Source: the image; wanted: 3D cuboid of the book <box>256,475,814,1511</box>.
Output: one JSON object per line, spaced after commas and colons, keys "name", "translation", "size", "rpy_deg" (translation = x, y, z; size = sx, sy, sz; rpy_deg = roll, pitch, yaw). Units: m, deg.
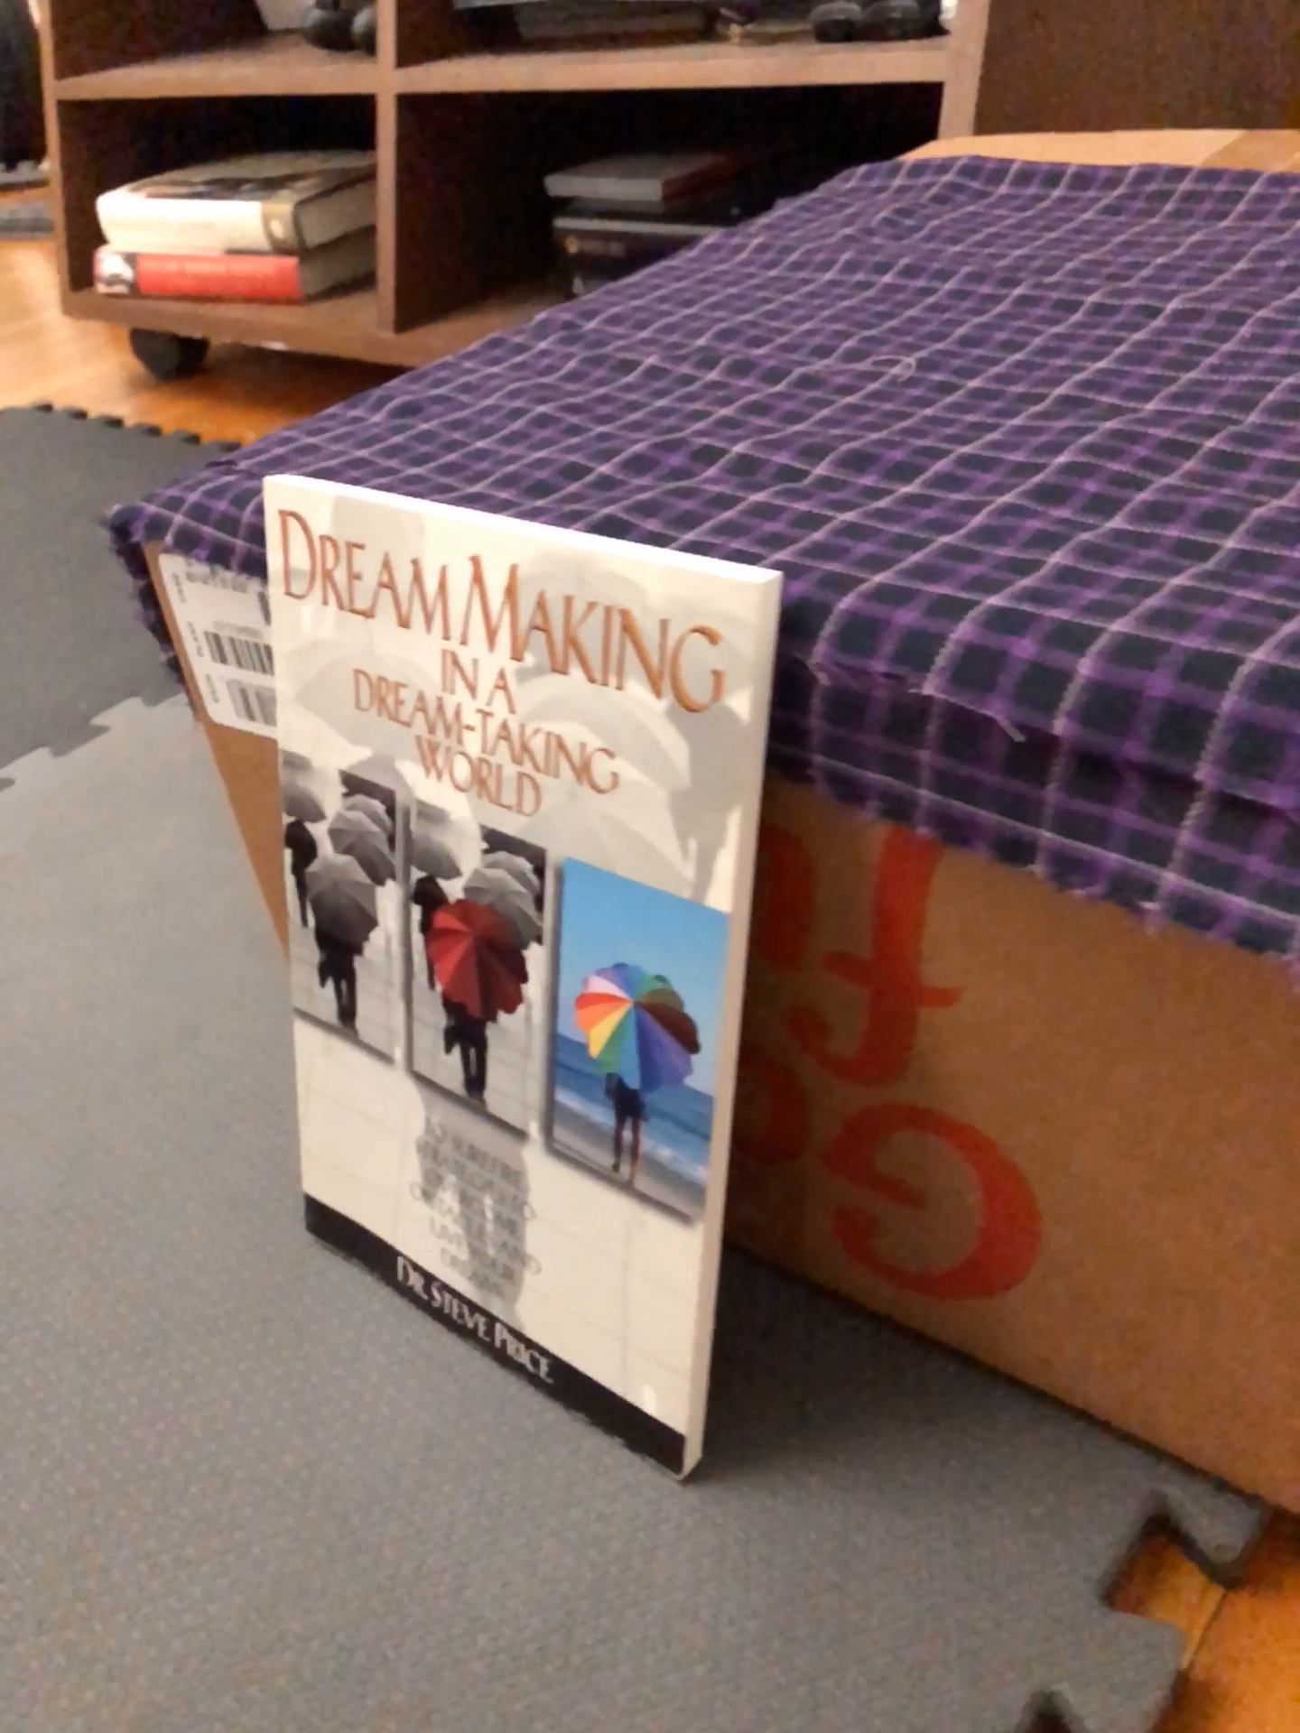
{"name": "book", "translation": [-0.036, 0.027, 0.351], "size": [0.150, 0.219, 0.020], "rpy_deg": [20, 29, 37]}
